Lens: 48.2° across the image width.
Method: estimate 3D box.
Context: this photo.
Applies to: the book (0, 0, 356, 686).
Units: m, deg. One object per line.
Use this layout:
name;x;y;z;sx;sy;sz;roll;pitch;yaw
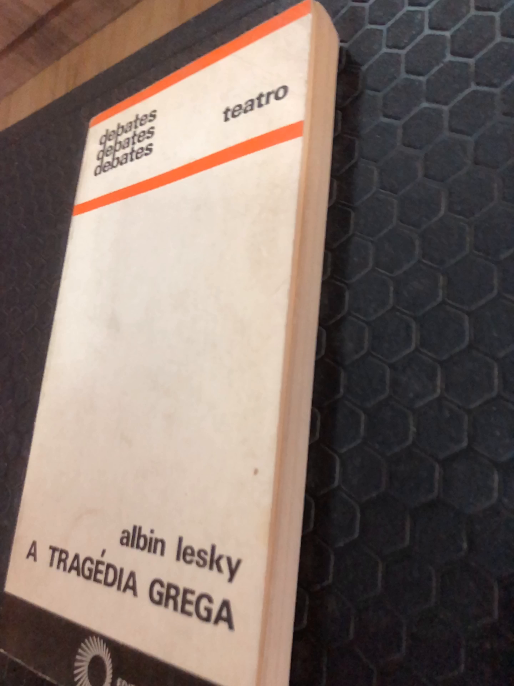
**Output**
book;-0.030;0.002;0.186;0.114;0.020;0.207;-4;74;39
